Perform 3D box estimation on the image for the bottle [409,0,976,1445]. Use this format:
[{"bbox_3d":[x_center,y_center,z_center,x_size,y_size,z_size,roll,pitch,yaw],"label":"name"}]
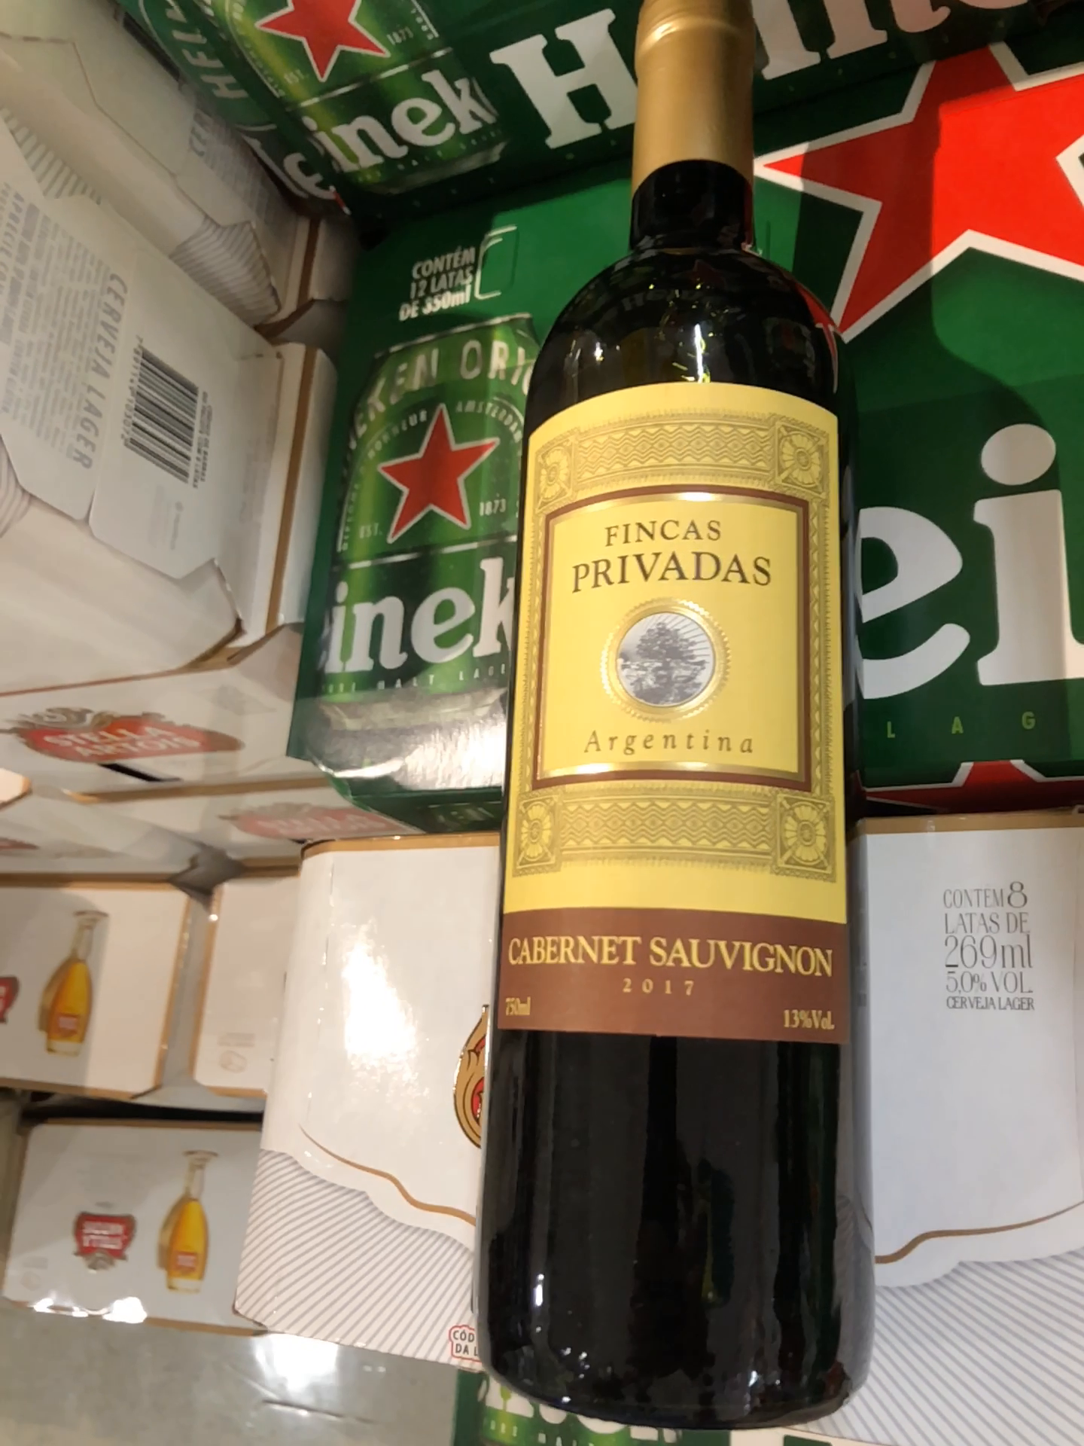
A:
[{"bbox_3d":[0.042,-0.037,0.255,0.080,0.060,0.331,-4,70,27],"label":"bottle"}]
